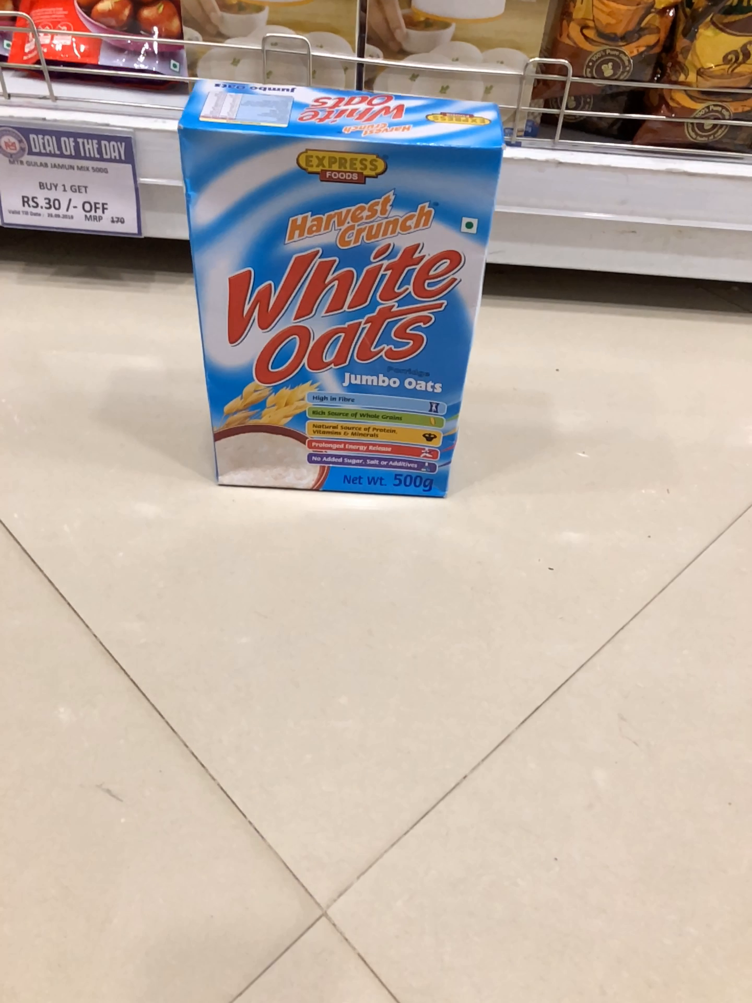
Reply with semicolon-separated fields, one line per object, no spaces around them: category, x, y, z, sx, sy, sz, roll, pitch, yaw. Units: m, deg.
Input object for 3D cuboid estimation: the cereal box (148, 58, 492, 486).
cereal box;-0.032;-0.112;0.461;0.150;0.218;0.060;4;46;-3
